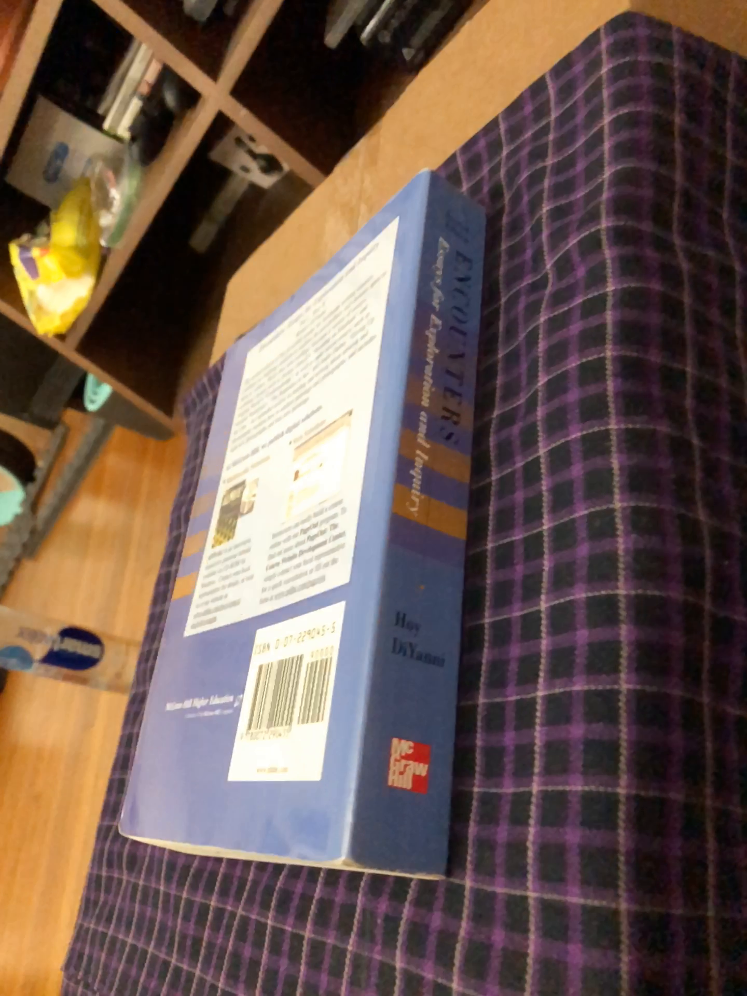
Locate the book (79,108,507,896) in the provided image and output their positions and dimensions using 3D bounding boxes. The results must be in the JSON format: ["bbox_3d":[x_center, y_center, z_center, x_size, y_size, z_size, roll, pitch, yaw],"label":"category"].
[{"bbox_3d":[-0.033,0.007,0.312,0.181,0.040,0.240,-27,48,50],"label":"book"}]
